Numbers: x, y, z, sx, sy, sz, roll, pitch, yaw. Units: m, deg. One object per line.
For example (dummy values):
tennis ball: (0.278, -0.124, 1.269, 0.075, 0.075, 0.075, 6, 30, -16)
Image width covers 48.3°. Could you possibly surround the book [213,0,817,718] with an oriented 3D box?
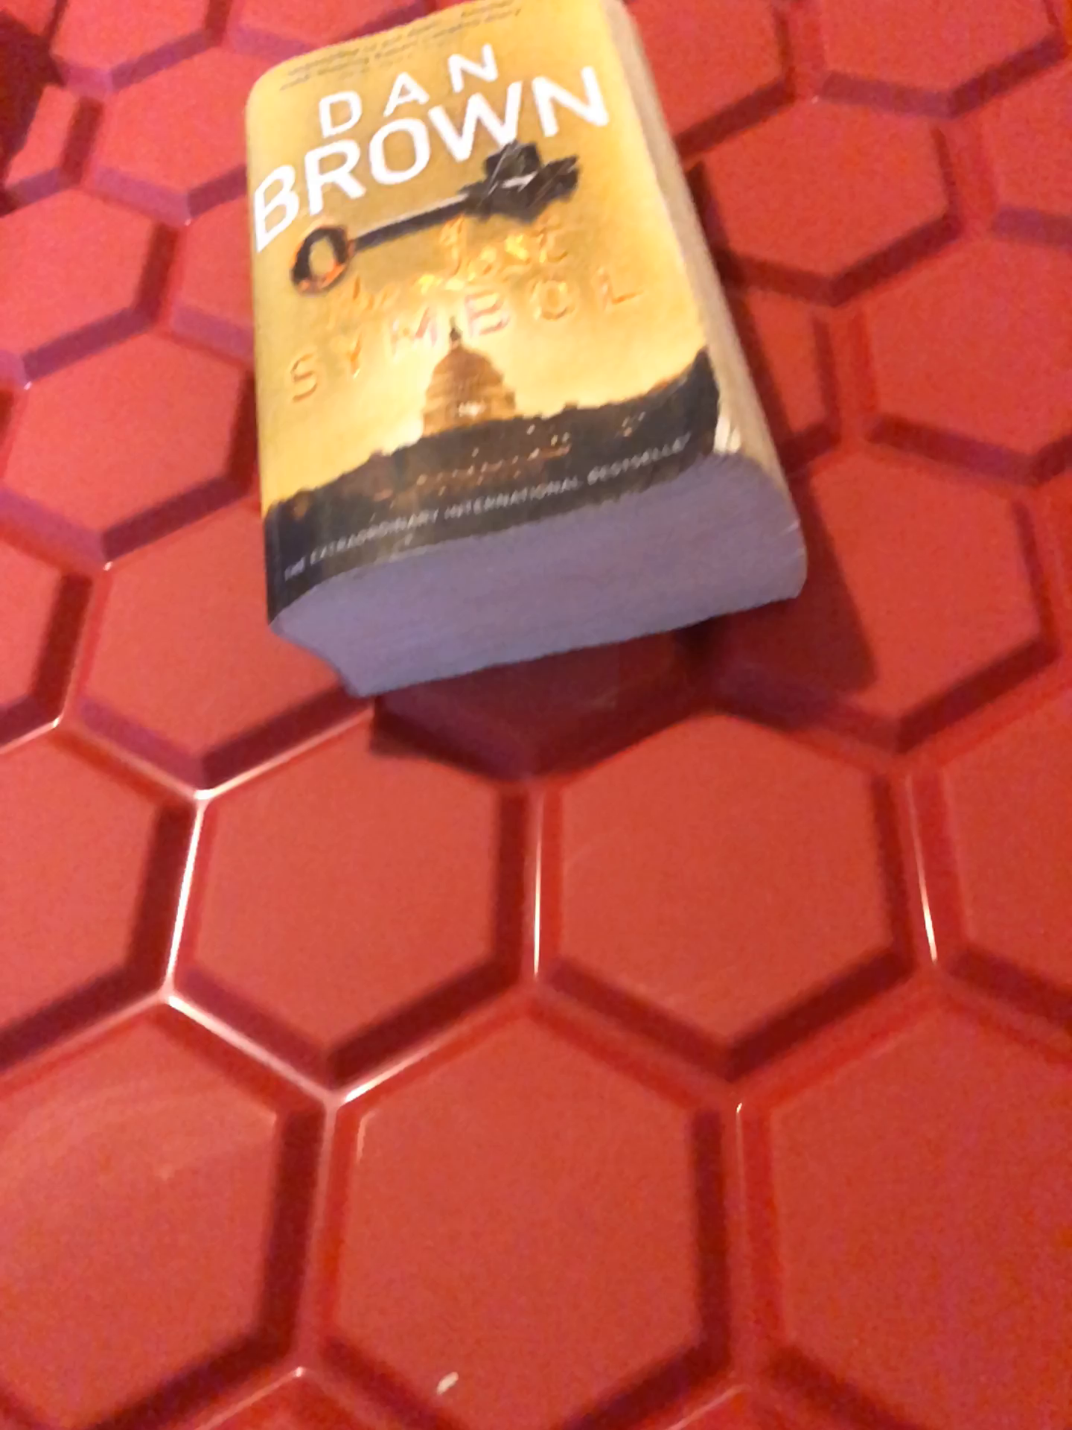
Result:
book: (-0.013, -0.103, 0.305, 0.122, 0.051, 0.183, -13, 59, 6)
